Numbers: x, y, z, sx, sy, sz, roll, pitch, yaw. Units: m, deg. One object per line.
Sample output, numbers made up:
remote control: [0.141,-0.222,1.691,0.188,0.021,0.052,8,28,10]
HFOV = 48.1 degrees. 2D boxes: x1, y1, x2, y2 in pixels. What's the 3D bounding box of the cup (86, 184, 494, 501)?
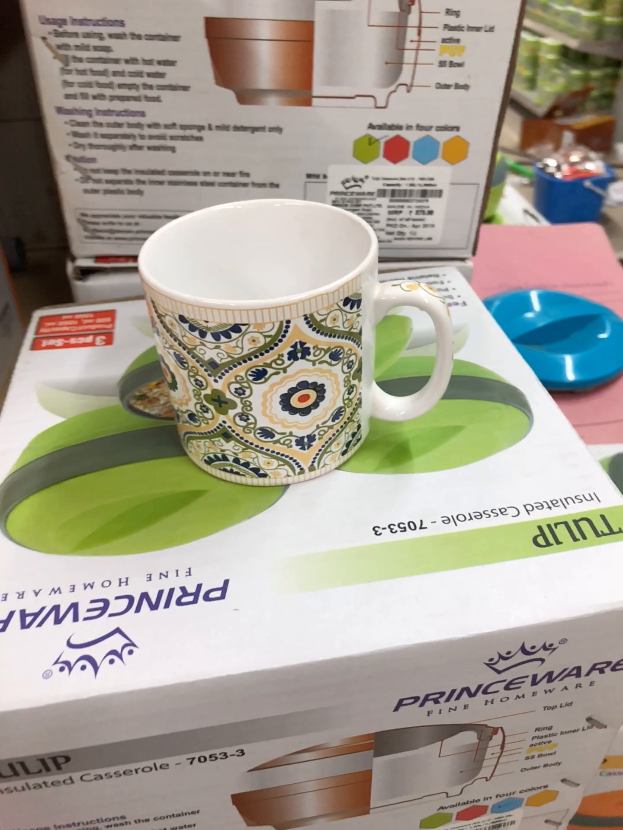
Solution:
cup: [-0.002,-0.027,0.237,0.110,0.079,0.070,2,37,7]
